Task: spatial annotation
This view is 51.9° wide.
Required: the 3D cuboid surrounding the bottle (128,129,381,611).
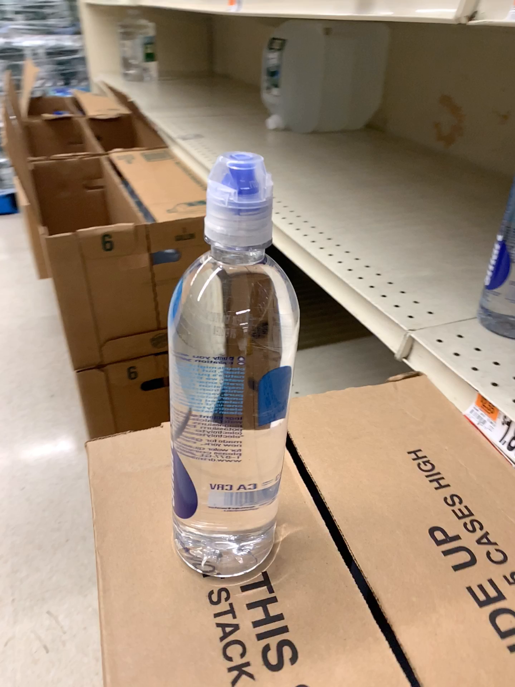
[{"bbox_3d":[-0.009,0.024,0.293,0.090,0.249,0.090,0,32,0],"label":"bottle"}]
